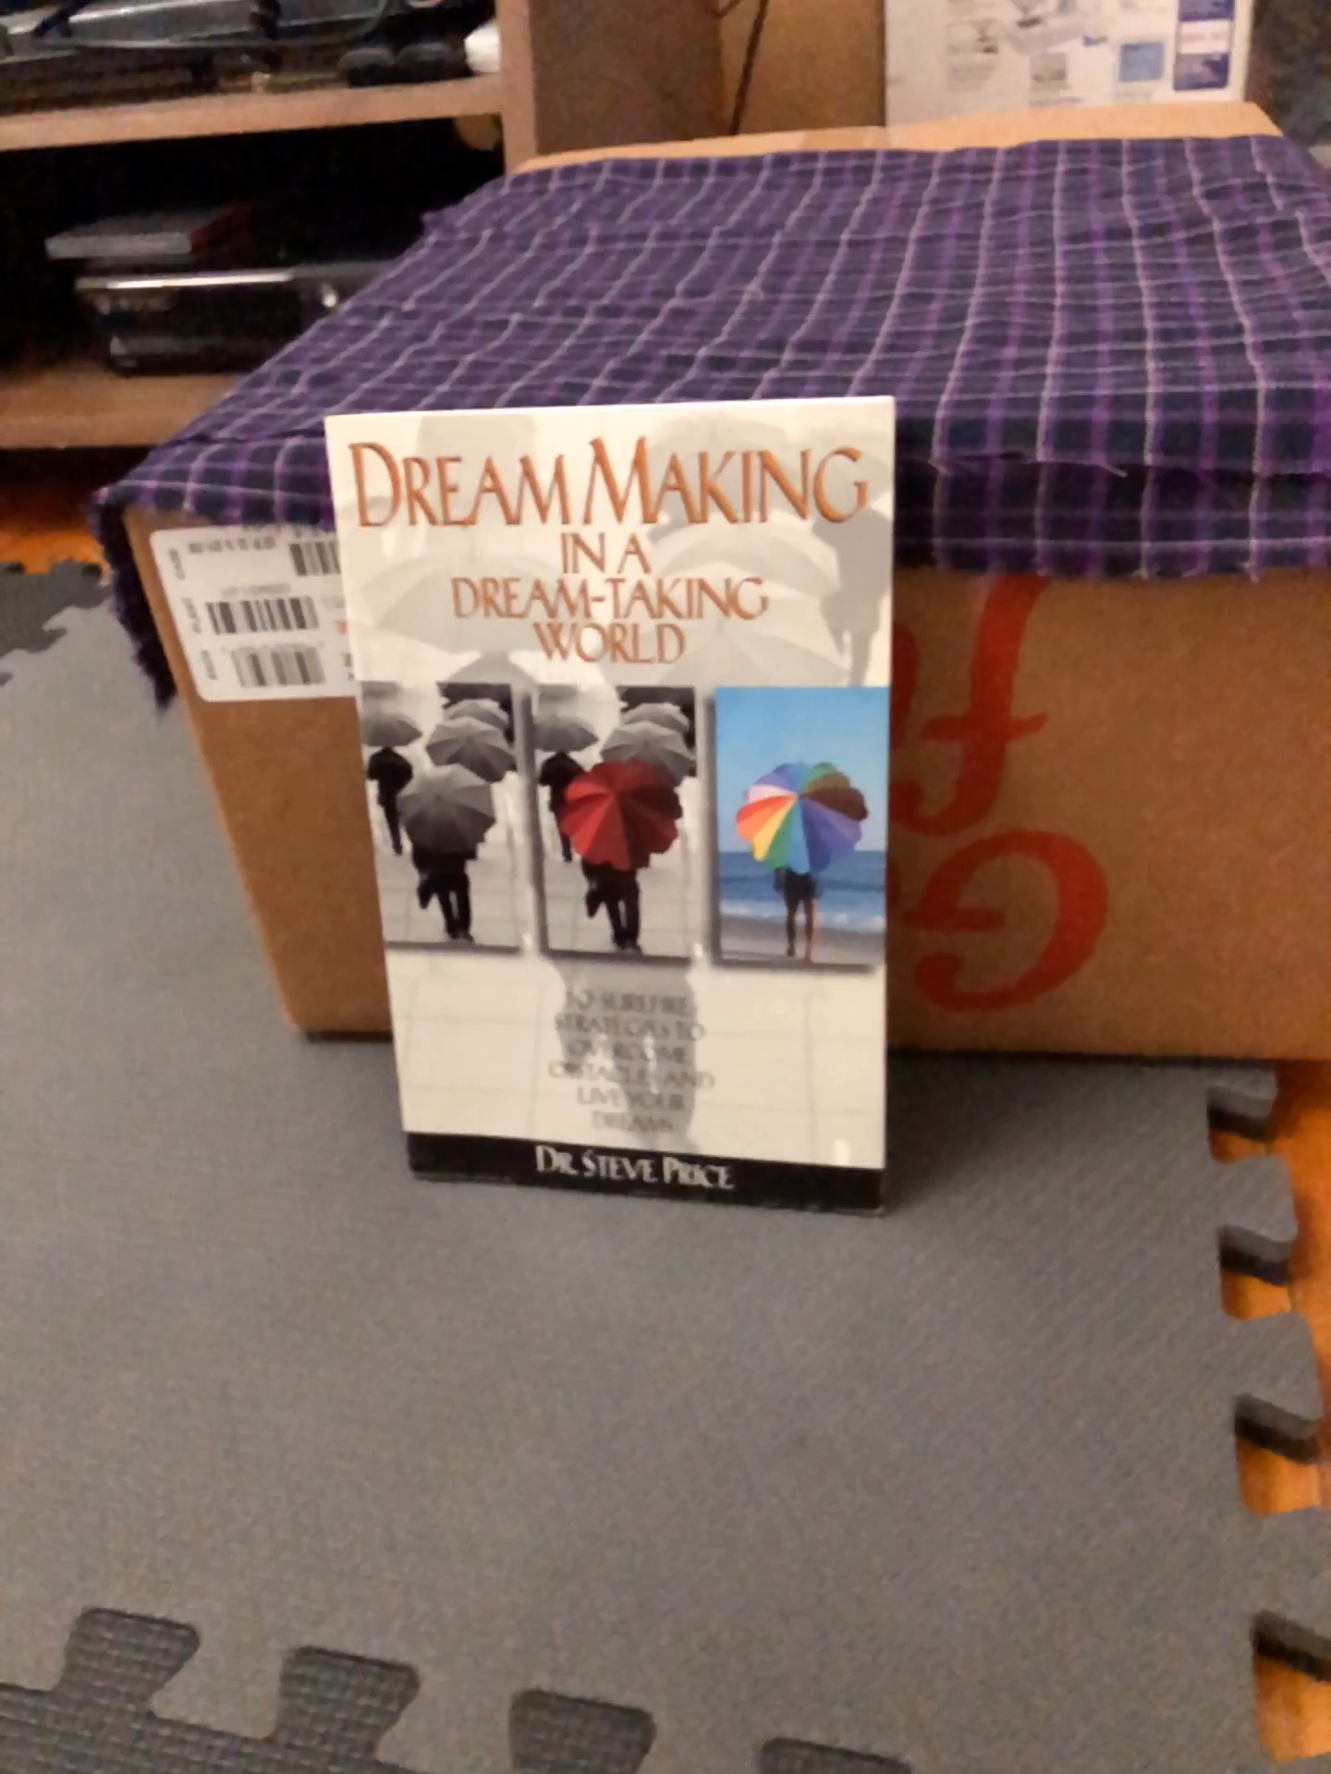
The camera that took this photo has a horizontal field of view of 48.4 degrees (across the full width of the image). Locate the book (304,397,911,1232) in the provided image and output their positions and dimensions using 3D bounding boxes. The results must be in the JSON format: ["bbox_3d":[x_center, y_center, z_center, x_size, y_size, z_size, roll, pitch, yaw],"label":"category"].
[{"bbox_3d":[-0.010,-0.014,0.401,0.150,0.219,0.020,2,20,15],"label":"book"}]
